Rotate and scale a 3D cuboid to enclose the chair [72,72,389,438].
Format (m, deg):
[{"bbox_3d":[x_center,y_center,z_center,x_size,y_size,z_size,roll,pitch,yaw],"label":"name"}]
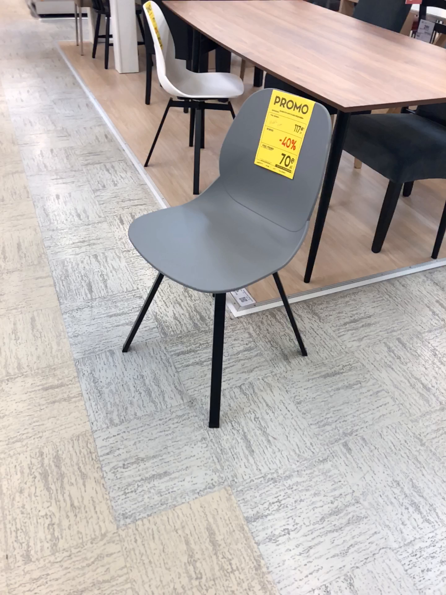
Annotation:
[{"bbox_3d":[0.015,-0.150,1.408,0.510,0.755,0.583,32,46,31],"label":"chair"}]
